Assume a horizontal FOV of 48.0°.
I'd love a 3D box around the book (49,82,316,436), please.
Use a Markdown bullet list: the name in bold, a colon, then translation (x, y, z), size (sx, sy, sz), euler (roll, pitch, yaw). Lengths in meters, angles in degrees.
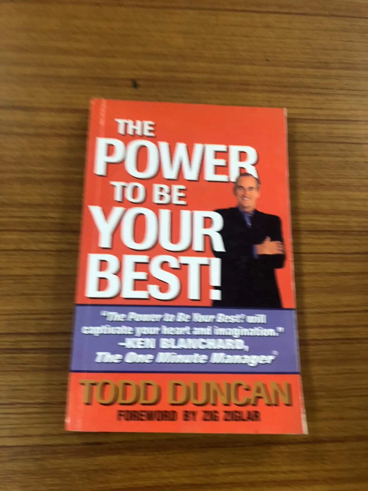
- **book**: translation (0.002, 0.003, 0.273), size (0.150, 0.030, 0.220), euler (2, 76, -4)
